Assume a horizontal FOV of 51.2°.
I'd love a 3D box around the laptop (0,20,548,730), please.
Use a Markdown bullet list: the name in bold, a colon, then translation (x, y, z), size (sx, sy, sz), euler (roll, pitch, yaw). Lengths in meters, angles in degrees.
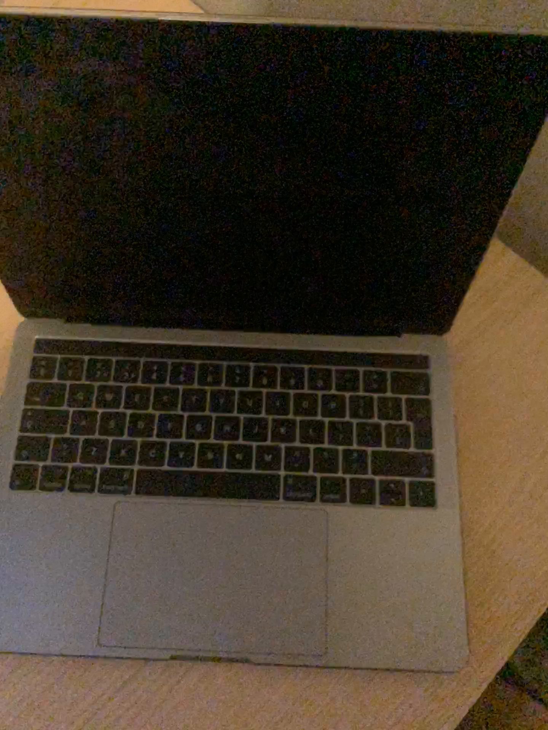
- **laptop**: translation (-0.030, 0.017, 0.284), size (0.294, 0.198, 0.257), euler (3, 71, 1)
